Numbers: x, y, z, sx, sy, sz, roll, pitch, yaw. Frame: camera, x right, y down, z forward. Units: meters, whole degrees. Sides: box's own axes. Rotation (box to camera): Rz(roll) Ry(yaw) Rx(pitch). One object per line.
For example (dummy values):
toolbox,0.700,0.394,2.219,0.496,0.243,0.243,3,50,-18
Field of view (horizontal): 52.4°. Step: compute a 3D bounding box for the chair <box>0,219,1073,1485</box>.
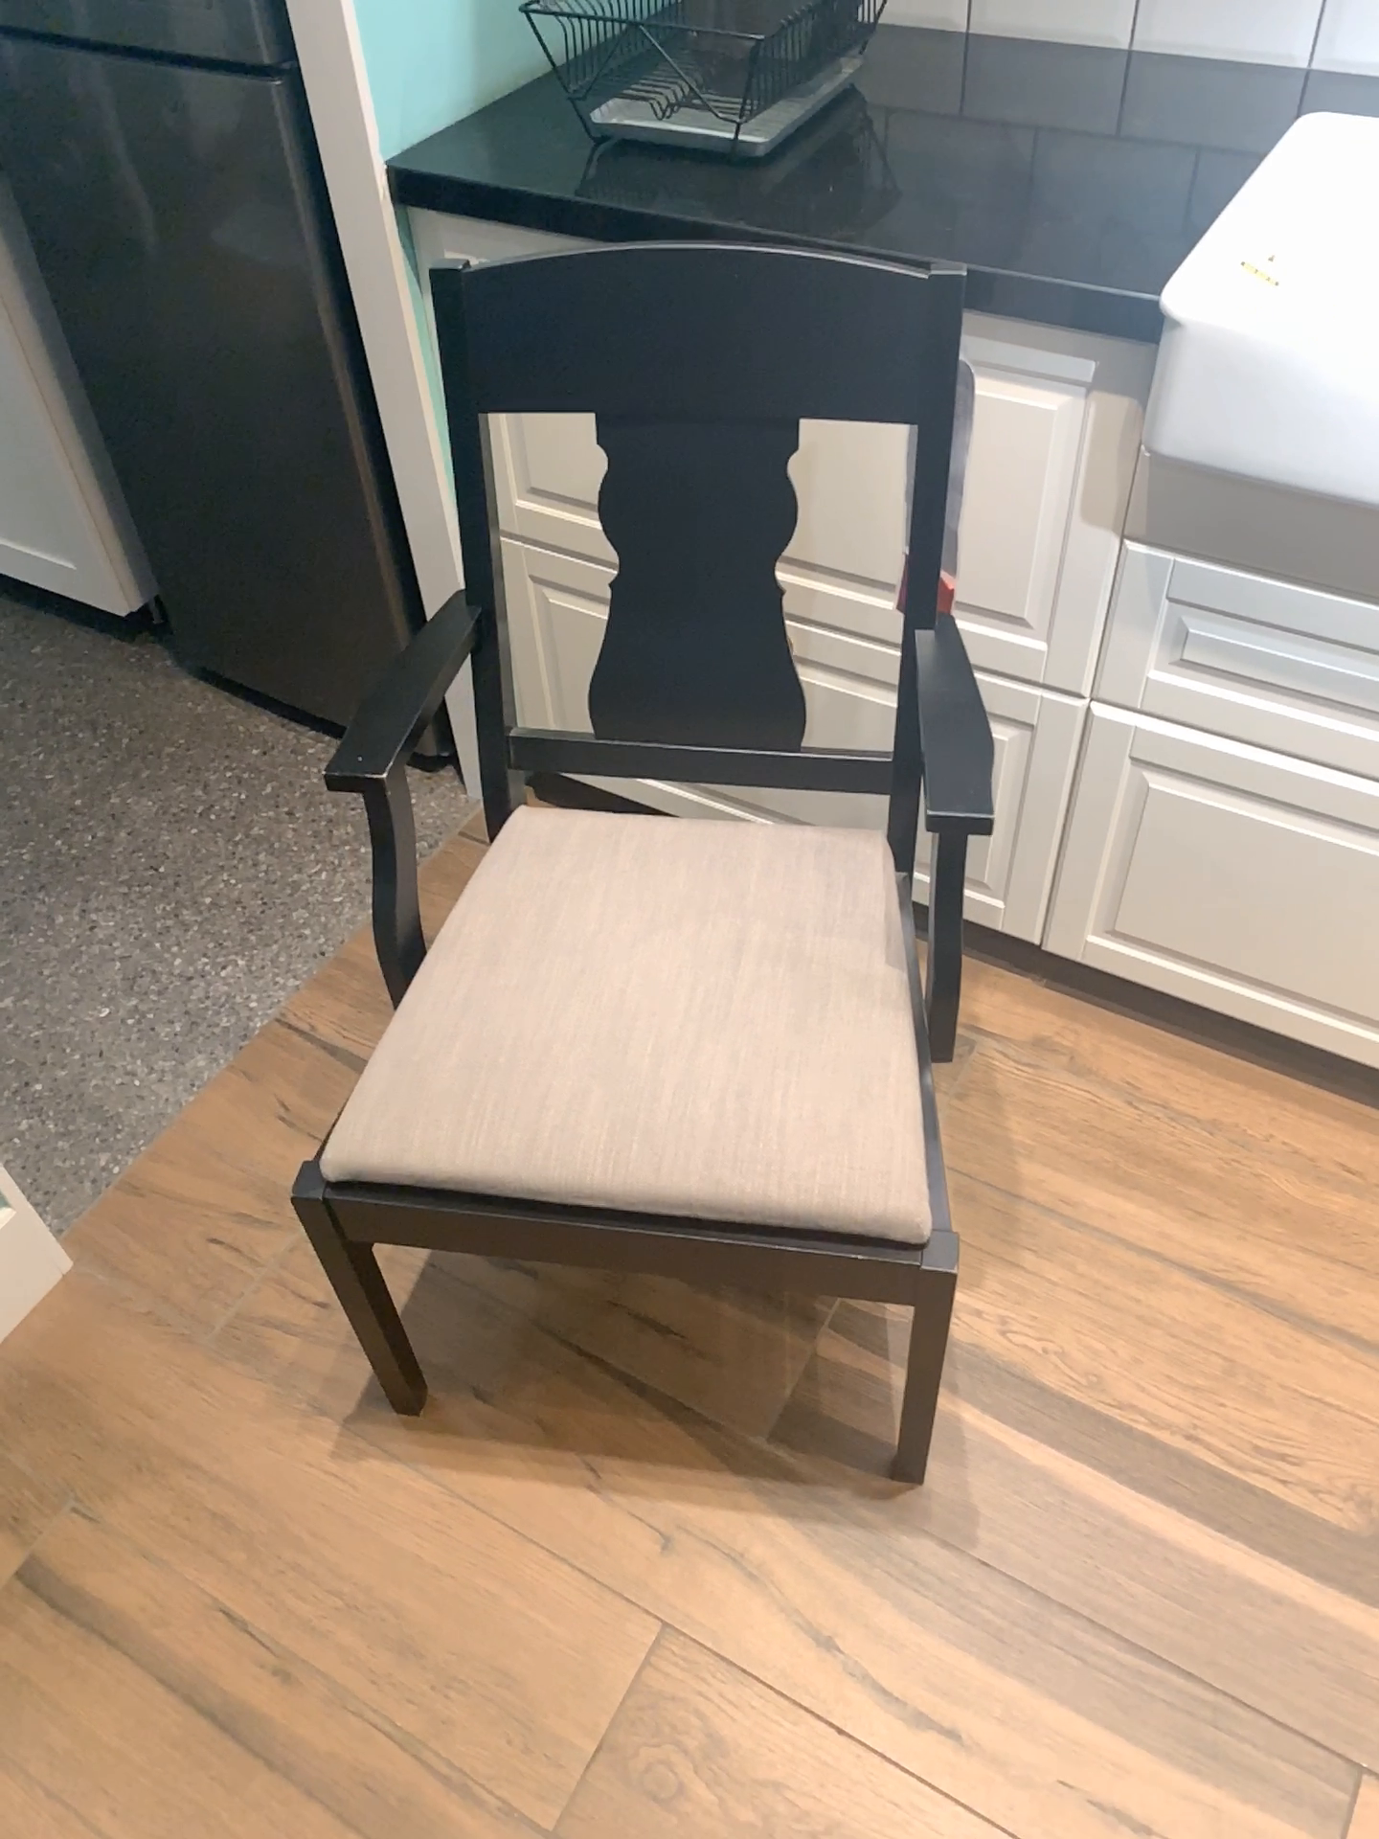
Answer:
chair,-0.034,-0.022,1.208,0.570,0.886,0.592,5,47,9
